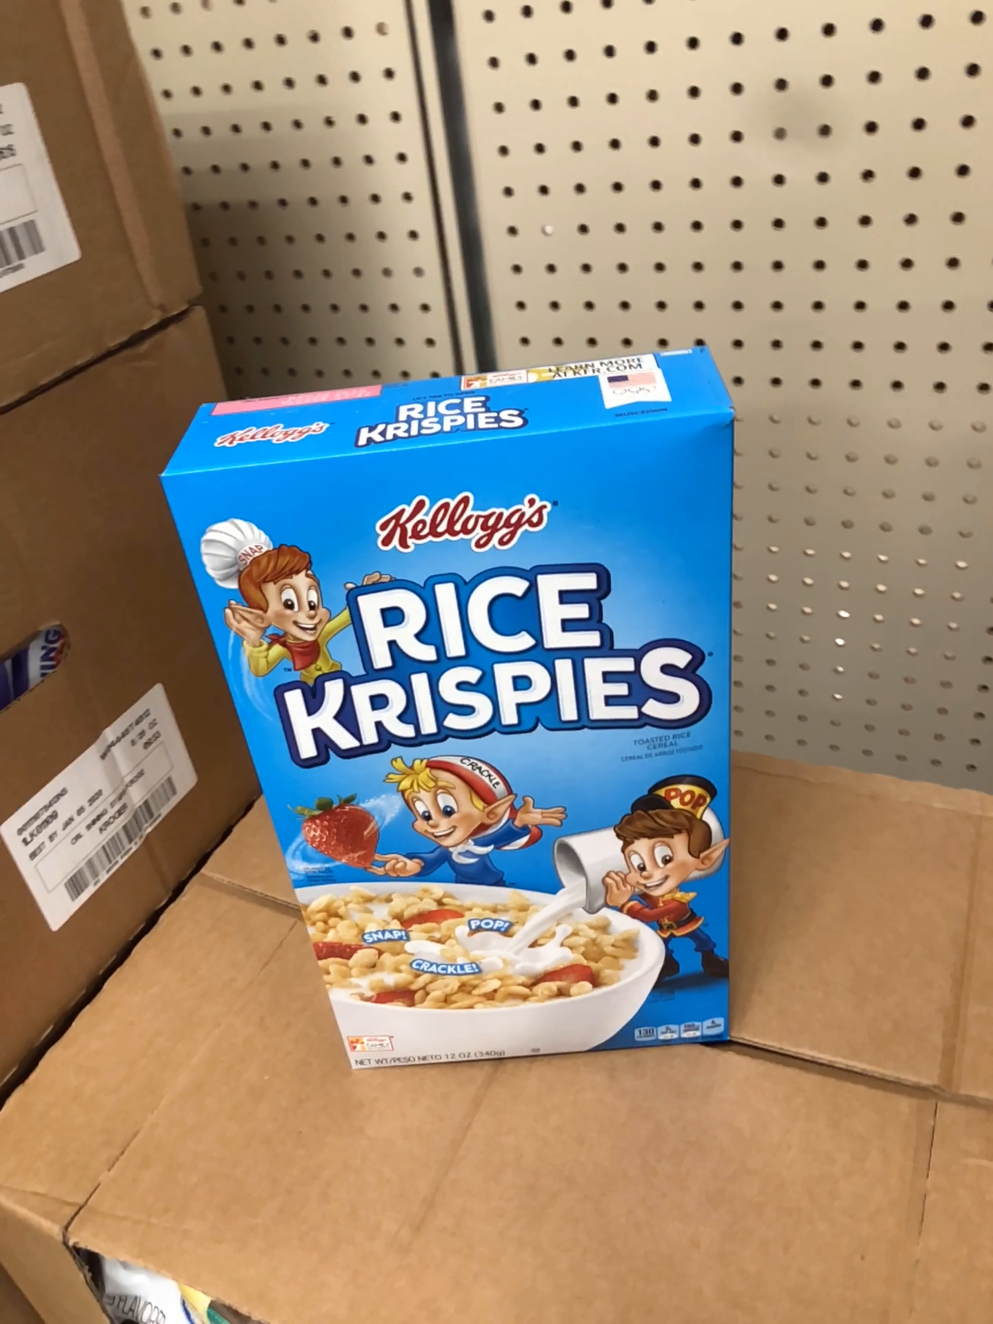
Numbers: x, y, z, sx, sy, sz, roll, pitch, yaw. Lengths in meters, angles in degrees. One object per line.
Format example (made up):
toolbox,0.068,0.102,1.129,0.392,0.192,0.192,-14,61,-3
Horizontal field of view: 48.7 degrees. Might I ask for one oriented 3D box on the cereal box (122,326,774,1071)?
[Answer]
cereal box,0.004,0.042,0.474,0.210,0.329,0.070,-6,36,4
